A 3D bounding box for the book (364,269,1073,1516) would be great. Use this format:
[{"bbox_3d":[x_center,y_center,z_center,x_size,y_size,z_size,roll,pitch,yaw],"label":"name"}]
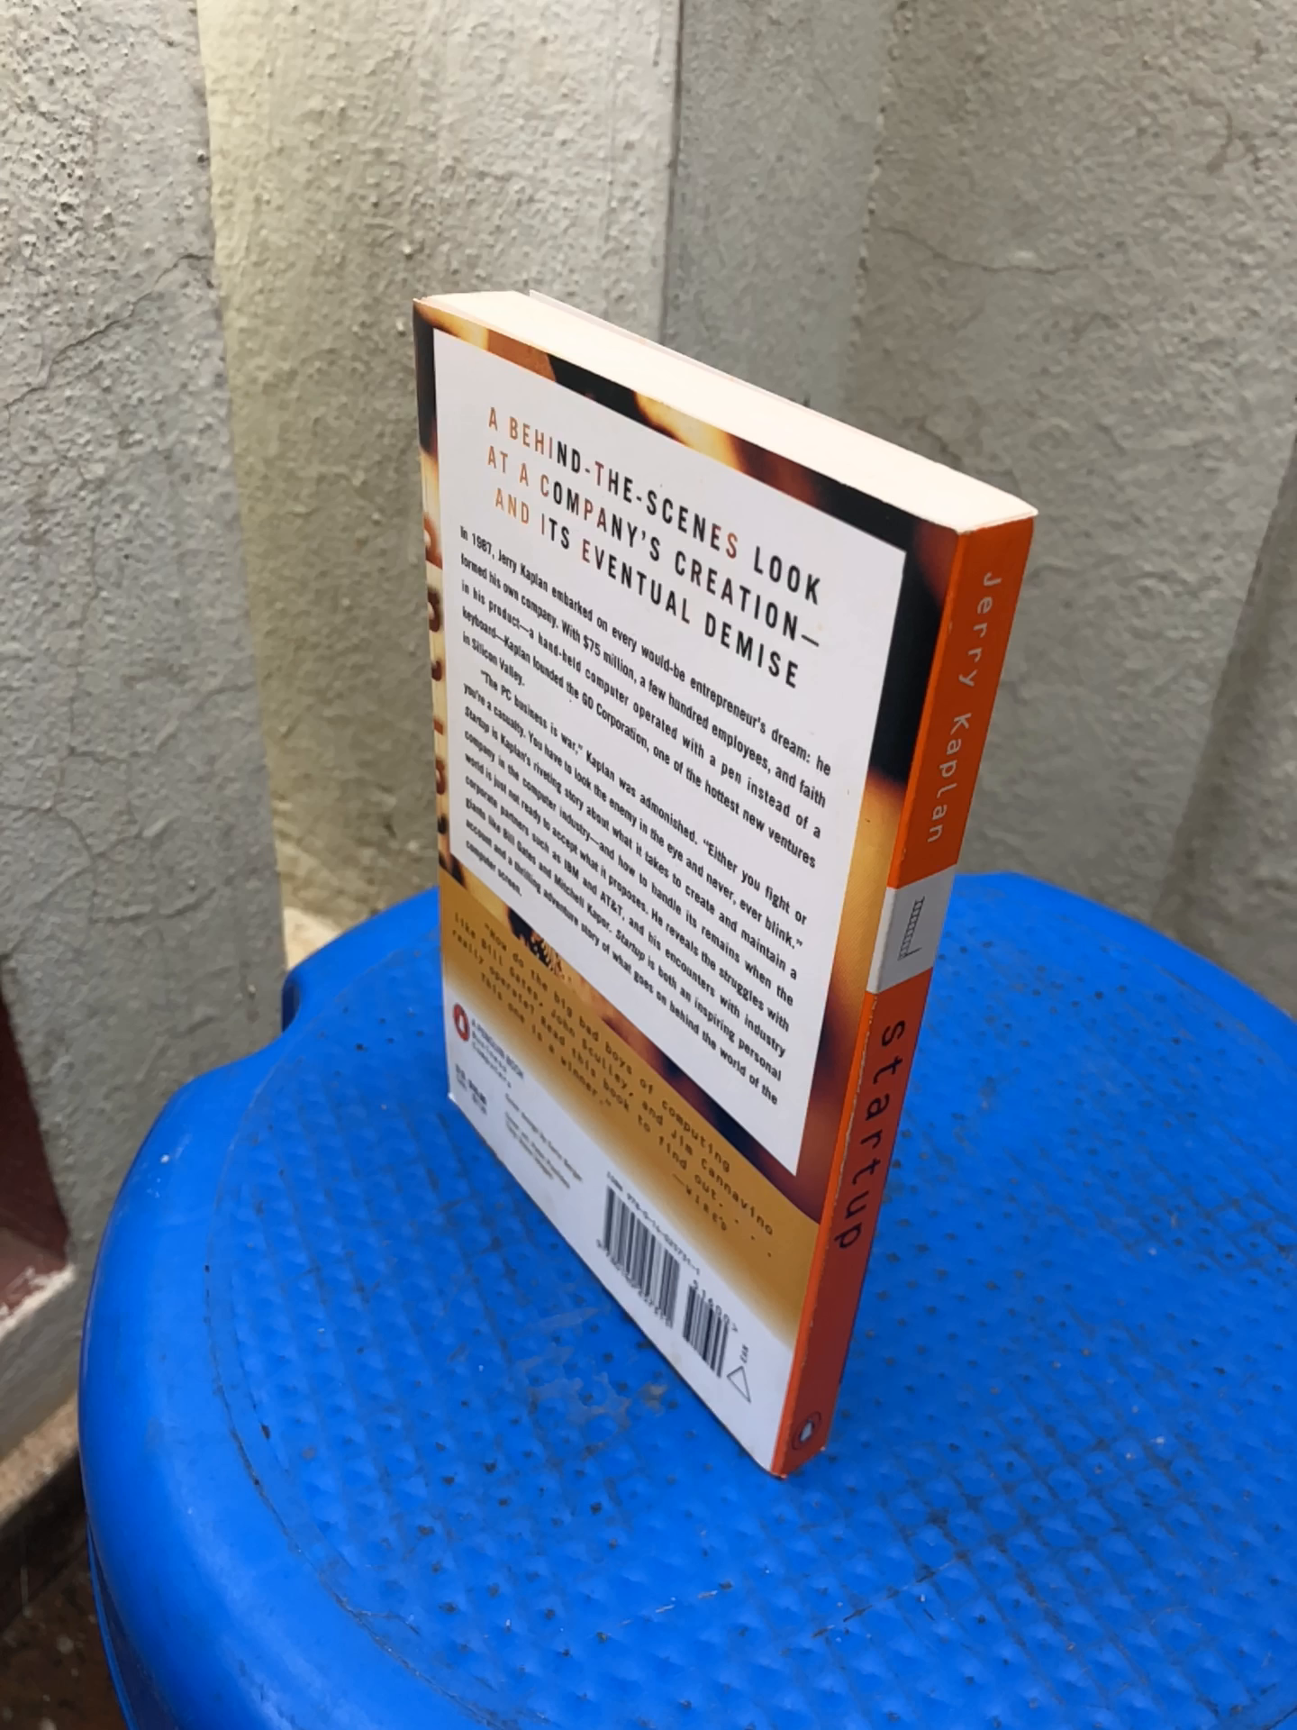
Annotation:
[{"bbox_3d":[-0.004,0.006,0.281,0.030,0.199,0.140,-19,40,-32],"label":"book"}]
